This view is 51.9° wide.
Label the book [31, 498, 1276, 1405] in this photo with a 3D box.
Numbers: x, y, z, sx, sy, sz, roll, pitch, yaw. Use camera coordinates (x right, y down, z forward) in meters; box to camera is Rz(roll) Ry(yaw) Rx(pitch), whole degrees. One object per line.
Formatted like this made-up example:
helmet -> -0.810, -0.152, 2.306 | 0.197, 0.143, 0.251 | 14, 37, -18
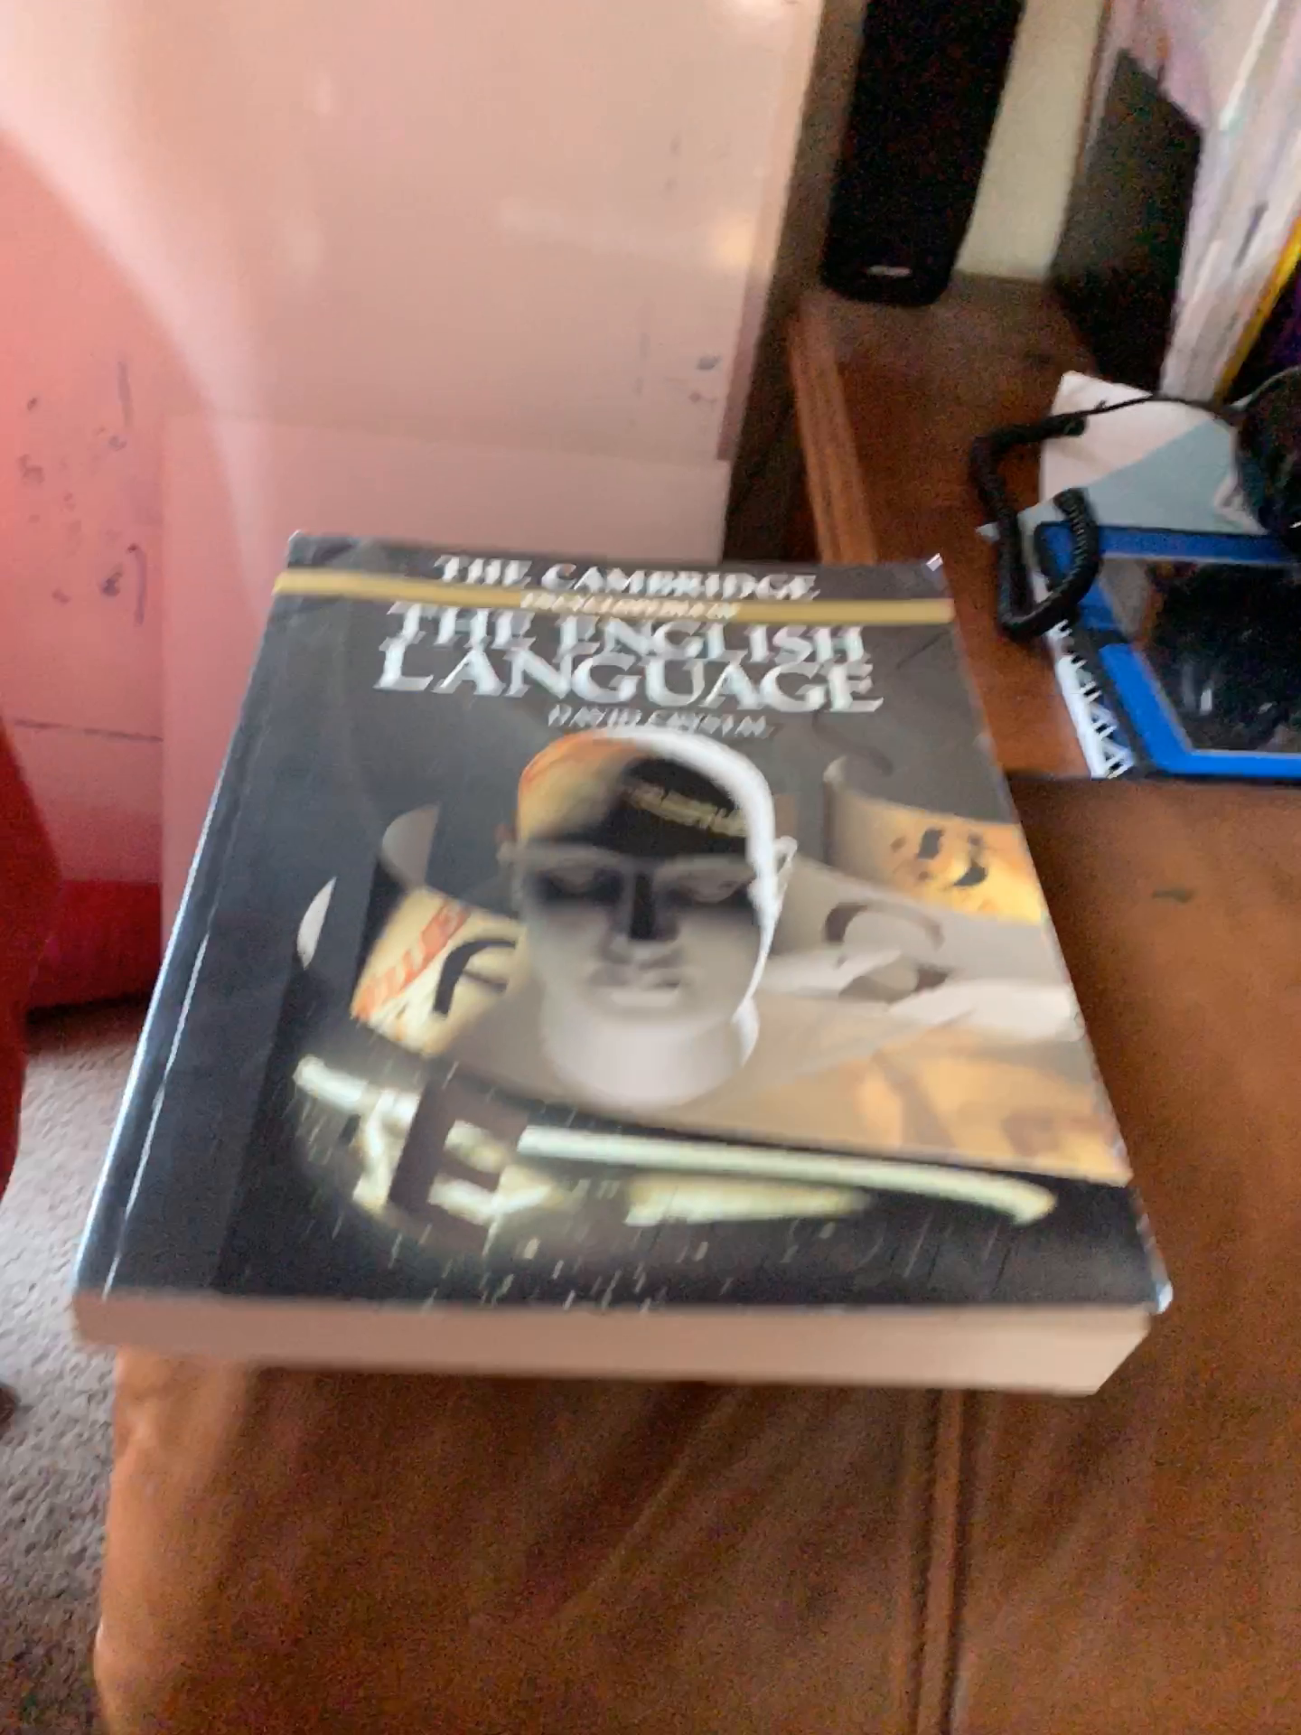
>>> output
book -> -0.001, -0.001, 0.374 | 0.240, 0.050, 0.281 | 3, 44, -6
